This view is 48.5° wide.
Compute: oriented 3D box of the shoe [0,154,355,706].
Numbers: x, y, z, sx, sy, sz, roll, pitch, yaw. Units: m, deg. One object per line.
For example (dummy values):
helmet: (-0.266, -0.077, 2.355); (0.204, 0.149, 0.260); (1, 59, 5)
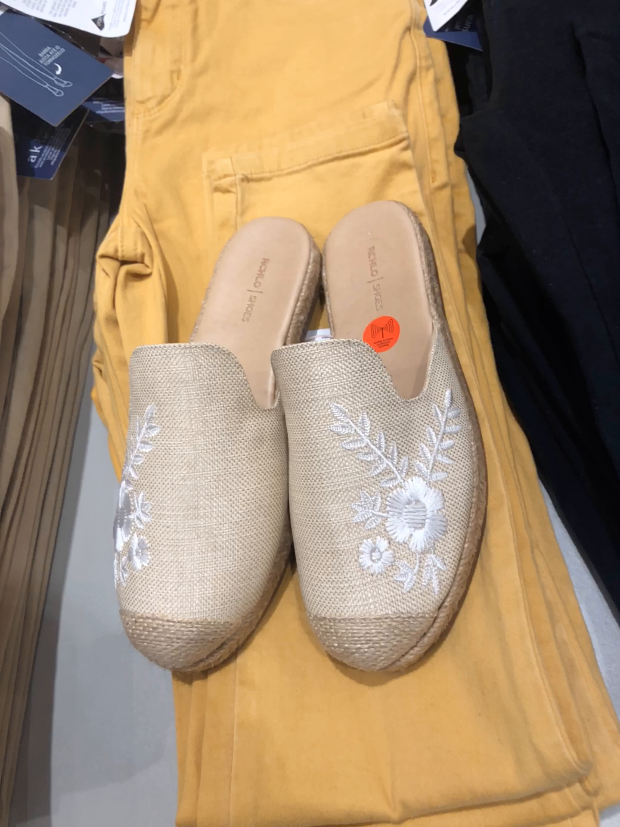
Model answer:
shoe: (-0.052, -0.004, 0.321); (0.090, 0.070, 0.241); (4, 64, 19)

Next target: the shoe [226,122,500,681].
shoe: (0.029, -0.012, 0.313); (0.090, 0.070, 0.241); (-5, 62, 15)
